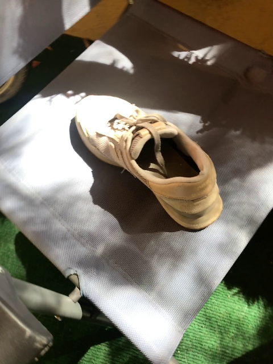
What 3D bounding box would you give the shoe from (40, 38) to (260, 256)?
[{"bbox_3d":[0.011,-0.046,0.432,0.125,0.104,0.287,-40,79,-10],"label":"shoe"}]
